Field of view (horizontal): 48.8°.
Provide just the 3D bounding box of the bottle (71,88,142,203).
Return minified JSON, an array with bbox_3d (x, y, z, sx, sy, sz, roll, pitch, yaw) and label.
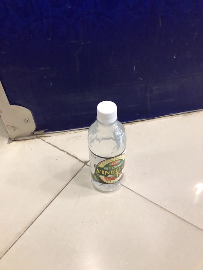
[{"bbox_3d":[0.007,0.027,0.382,0.080,0.189,0.070,-16,47,-13],"label":"bottle"}]
